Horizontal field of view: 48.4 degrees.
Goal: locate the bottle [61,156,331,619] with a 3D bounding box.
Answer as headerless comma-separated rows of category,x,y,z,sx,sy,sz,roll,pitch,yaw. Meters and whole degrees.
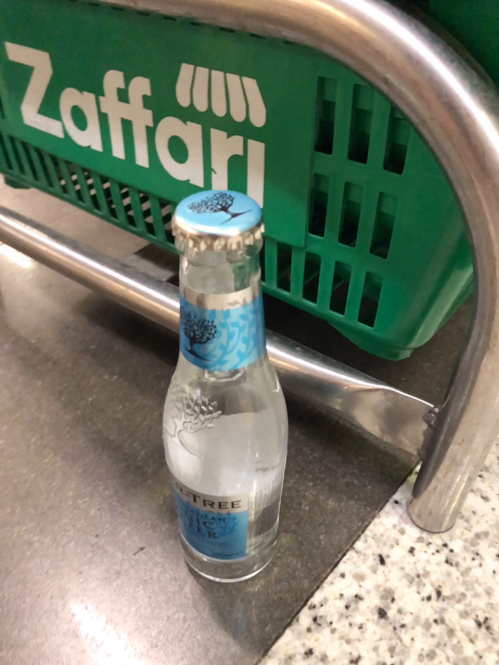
bottle,-0.015,0.036,0.223,0.060,0.189,0.050,27,48,28
